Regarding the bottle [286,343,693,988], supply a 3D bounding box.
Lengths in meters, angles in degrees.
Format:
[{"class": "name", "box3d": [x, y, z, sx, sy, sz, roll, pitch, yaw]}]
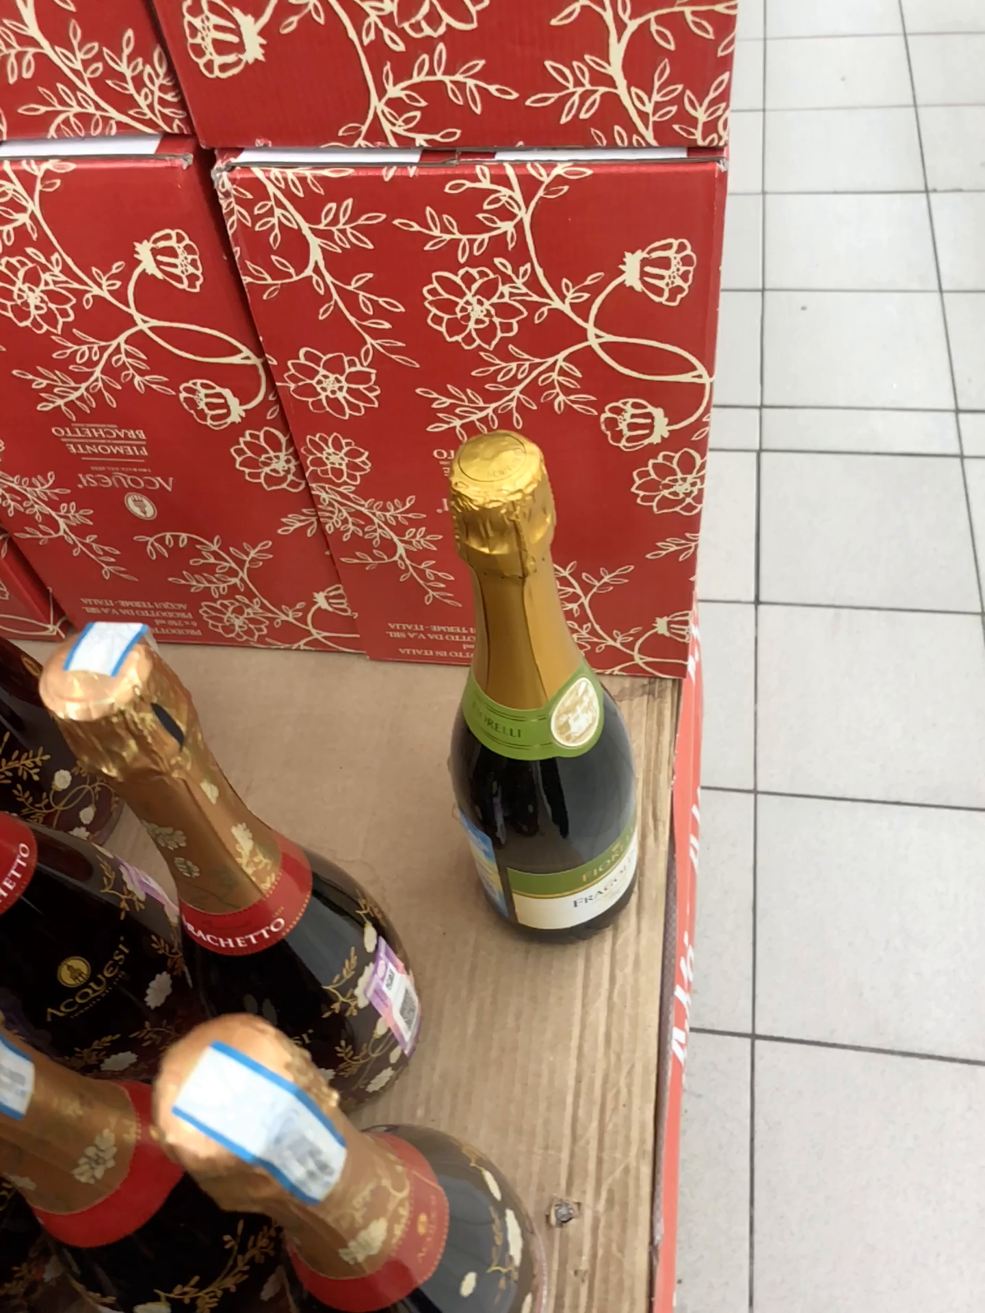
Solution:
[{"class": "bottle", "box3d": [0.014, 0.027, 0.453, 0.090, 0.289, 0.090, -4, 54, 5]}]
